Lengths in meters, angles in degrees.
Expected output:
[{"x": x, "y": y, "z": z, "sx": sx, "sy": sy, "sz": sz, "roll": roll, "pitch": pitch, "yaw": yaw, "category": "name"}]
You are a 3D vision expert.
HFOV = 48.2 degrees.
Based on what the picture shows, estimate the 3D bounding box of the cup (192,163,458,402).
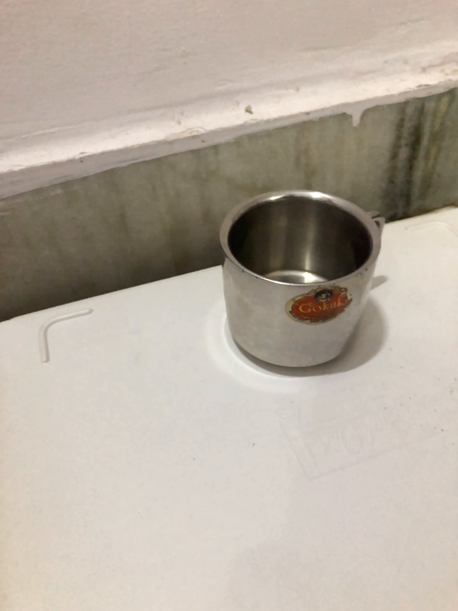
[{"x": 0.046, "y": -0.017, "z": 0.250, "sx": 0.100, "sy": 0.050, "sz": 0.080, "roll": -22, "pitch": 47, "yaw": -19, "category": "cup"}]
